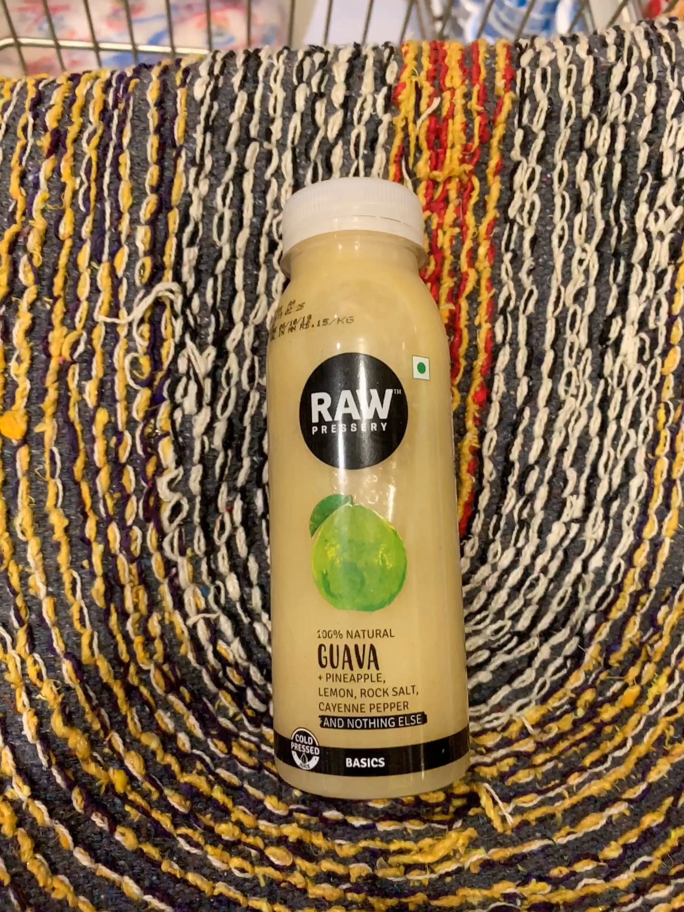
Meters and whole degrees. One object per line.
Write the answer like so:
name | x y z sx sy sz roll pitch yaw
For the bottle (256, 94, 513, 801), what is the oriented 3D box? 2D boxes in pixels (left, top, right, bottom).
bottle | 0.008 -0.004 0.181 0.050 0.040 0.160 -3 82 2
